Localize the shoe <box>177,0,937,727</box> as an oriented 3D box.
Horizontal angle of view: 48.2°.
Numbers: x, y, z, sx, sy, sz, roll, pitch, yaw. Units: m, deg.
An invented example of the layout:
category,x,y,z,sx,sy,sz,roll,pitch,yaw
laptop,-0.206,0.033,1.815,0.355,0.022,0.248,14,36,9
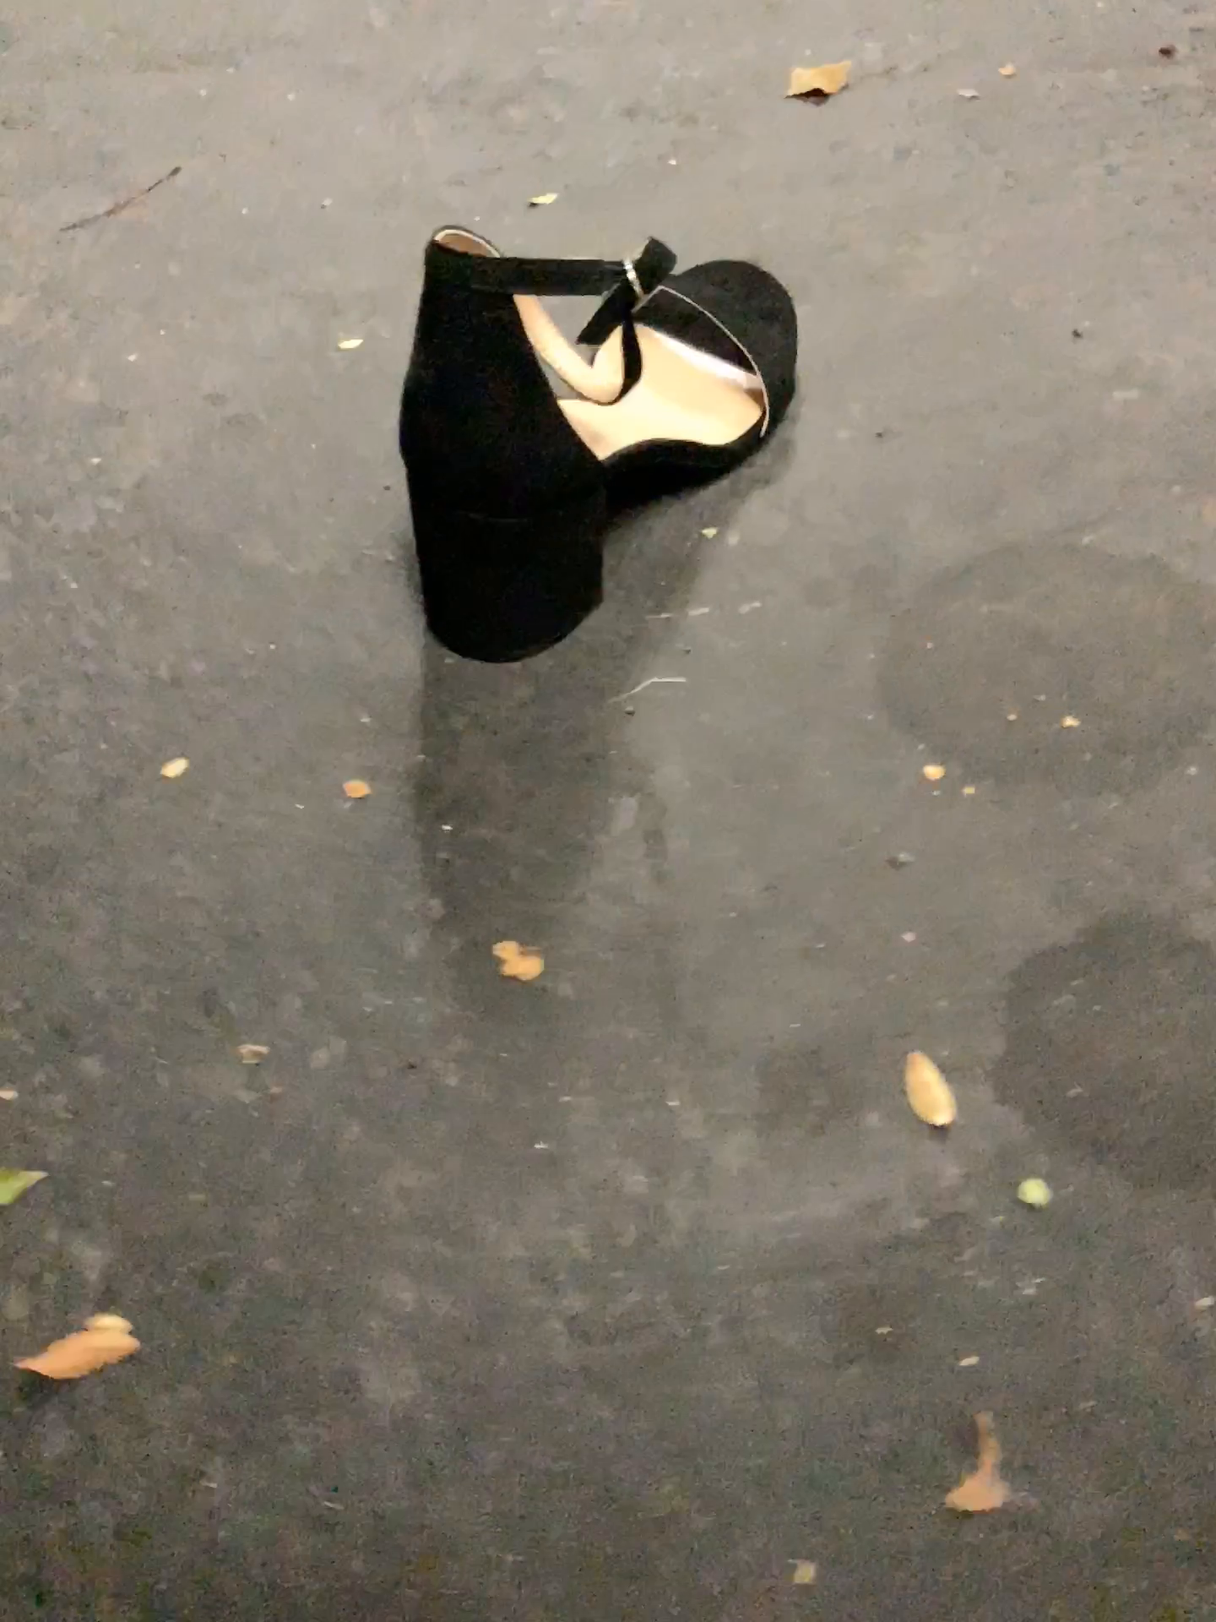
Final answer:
category,x,y,z,sx,sy,sz,roll,pitch,yaw
shoe,0.001,-0.188,0.486,0.120,0.140,0.270,23,58,20
